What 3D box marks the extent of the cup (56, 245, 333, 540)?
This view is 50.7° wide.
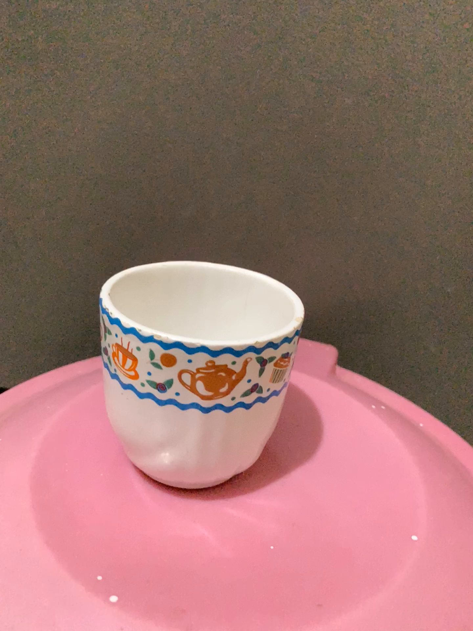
[{"bbox_3d":[-0.010,0.019,0.176,0.075,0.062,0.072,6,22,-2],"label":"cup"}]
